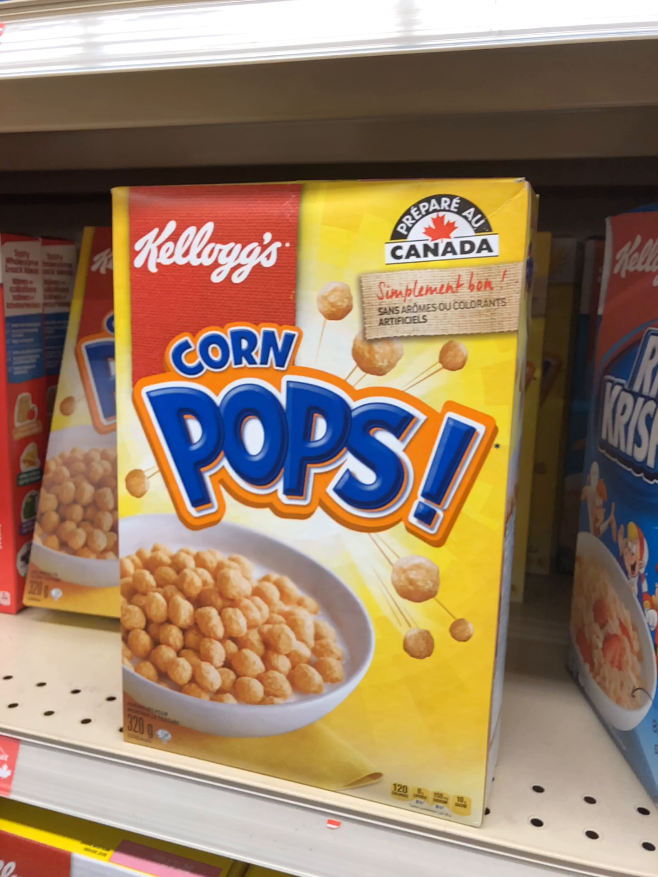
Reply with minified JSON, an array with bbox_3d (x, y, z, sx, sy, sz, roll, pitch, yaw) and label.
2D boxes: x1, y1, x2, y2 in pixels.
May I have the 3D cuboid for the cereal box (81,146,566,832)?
[{"bbox_3d":[-0.007,0.019,0.358,0.210,0.289,0.060,5,12,18],"label":"cereal box"}]
